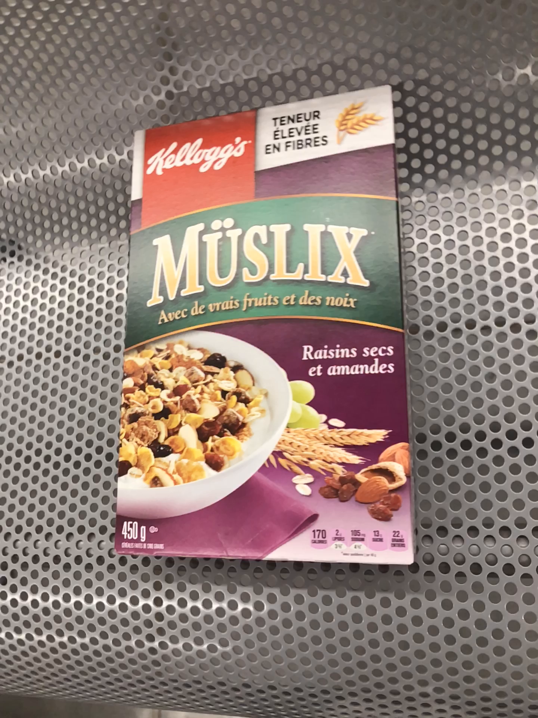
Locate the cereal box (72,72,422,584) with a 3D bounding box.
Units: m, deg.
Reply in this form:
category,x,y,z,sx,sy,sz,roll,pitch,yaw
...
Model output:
category,x,y,z,sx,sy,sz,roll,pitch,yaw
cereal box,-0.012,-0.017,0.343,0.180,0.050,0.260,-4,78,17
